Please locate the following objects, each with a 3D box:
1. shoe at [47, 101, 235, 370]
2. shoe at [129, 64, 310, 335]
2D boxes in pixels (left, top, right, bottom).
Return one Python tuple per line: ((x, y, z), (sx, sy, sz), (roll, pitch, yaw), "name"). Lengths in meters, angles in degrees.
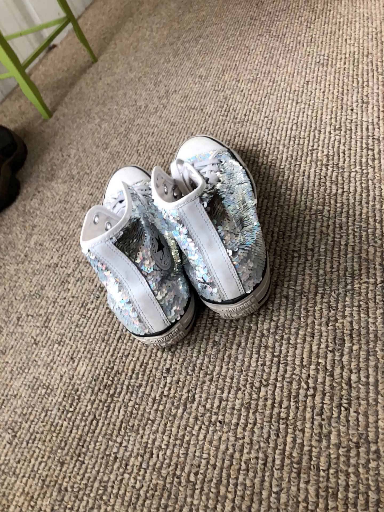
((-0.068, -0.039, 0.469), (0.111, 0.137, 0.265), (-26, 42, 2), "shoe")
((0.017, -0.075, 0.452), (0.111, 0.127, 0.265), (-20, 43, 8), "shoe")
